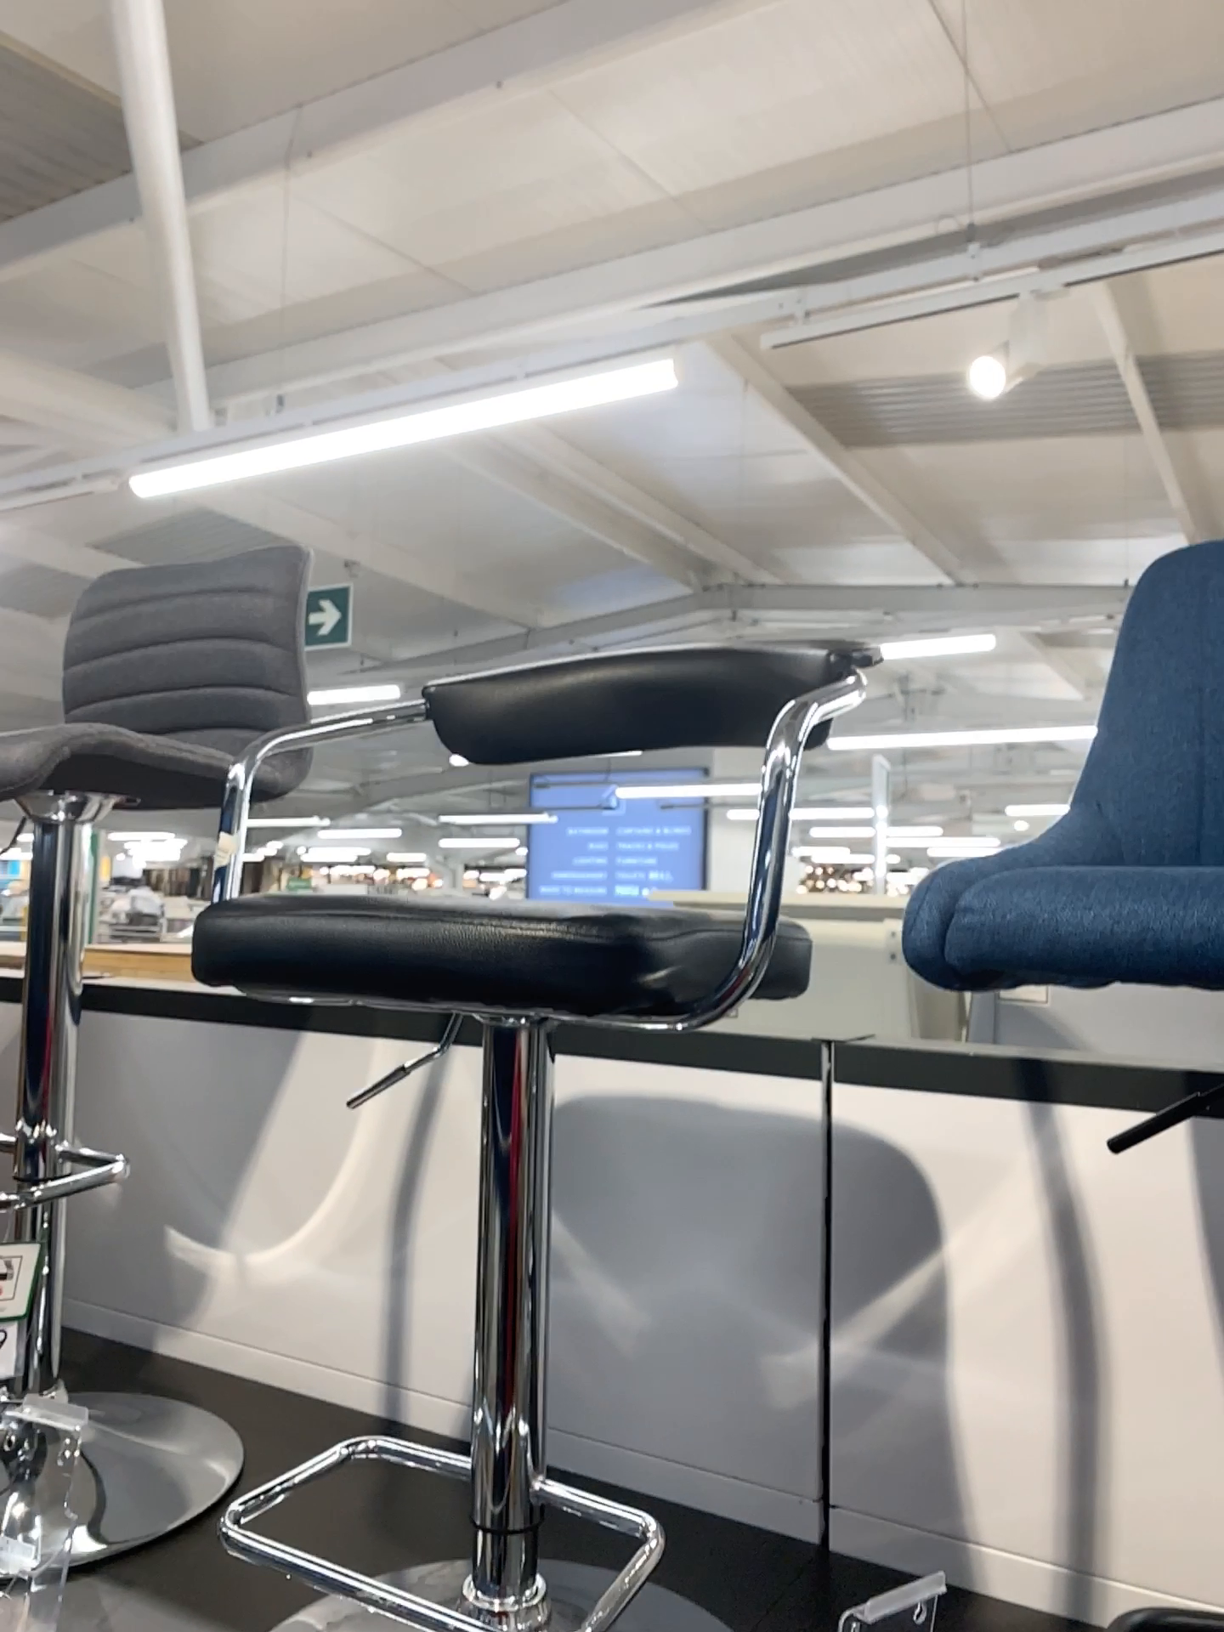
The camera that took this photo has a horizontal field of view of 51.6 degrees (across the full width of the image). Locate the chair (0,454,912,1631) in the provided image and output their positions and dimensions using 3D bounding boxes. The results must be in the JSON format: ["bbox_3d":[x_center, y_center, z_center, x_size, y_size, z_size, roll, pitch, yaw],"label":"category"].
[{"bbox_3d":[-0.075,0.239,1.004,0.511,0.855,0.465,-1,-6,27],"label":"chair"}]

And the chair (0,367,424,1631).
[{"bbox_3d":[-0.575,0.157,1.377,0.511,1.066,0.465,-1,-6,27],"label":"chair"}]

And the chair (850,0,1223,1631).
[{"bbox_3d":[0.486,0.193,0.729,0.521,0.956,0.535,-2,-6,31],"label":"chair"}]
